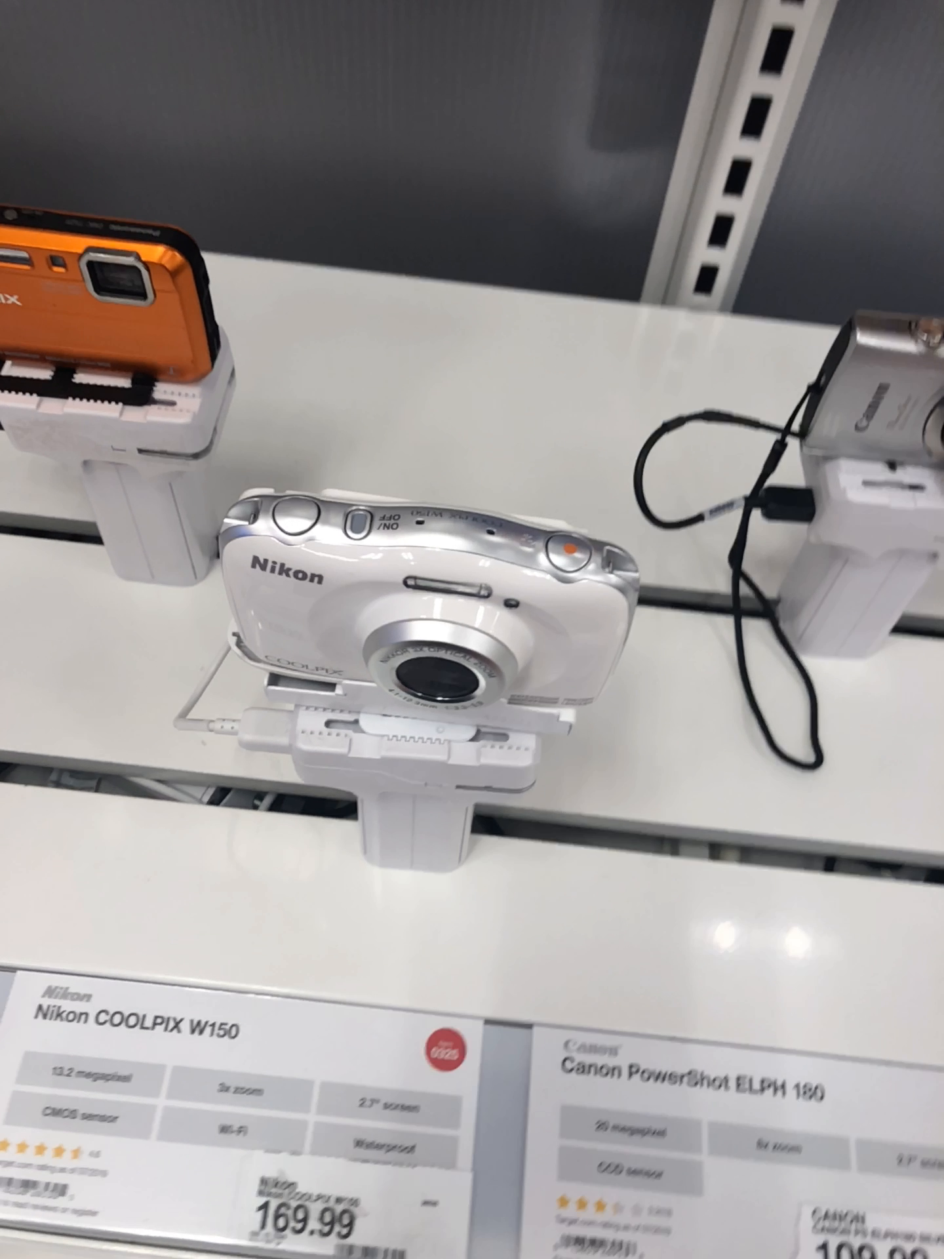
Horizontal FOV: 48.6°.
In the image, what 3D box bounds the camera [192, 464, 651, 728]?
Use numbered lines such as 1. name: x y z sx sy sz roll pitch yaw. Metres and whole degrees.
1. camera: -0.012 -0.007 0.271 0.105 0.056 0.032 6 58 -1
